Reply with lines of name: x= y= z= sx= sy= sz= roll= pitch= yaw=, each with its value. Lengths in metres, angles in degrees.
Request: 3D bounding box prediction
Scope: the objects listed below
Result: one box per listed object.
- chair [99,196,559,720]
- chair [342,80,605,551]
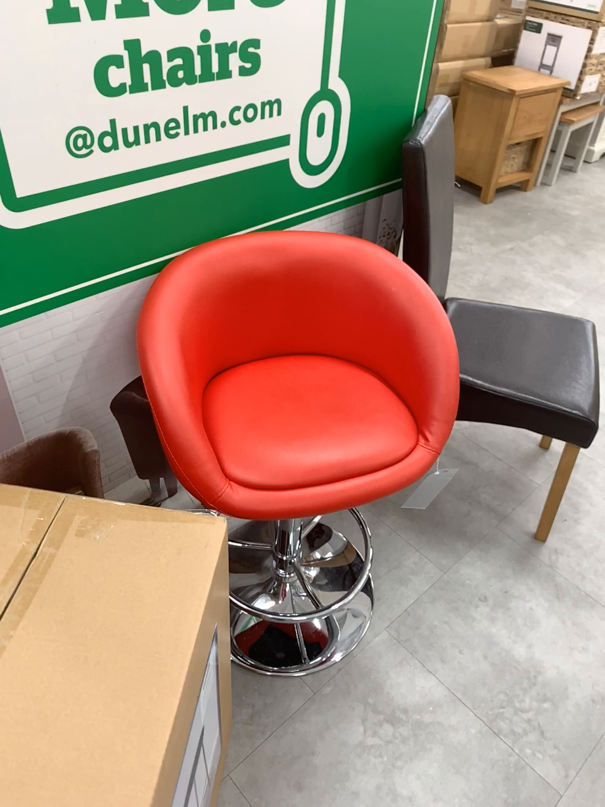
chair: x=-0.002 y=0.095 z=1.159 sx=0.535 sy=0.743 sz=0.464 roll=-16 pitch=44 yaw=-22
chair: x=0.451 y=-0.191 z=1.435 sx=0.531 sy=0.852 sz=0.509 roll=14 pitch=41 yaw=11
